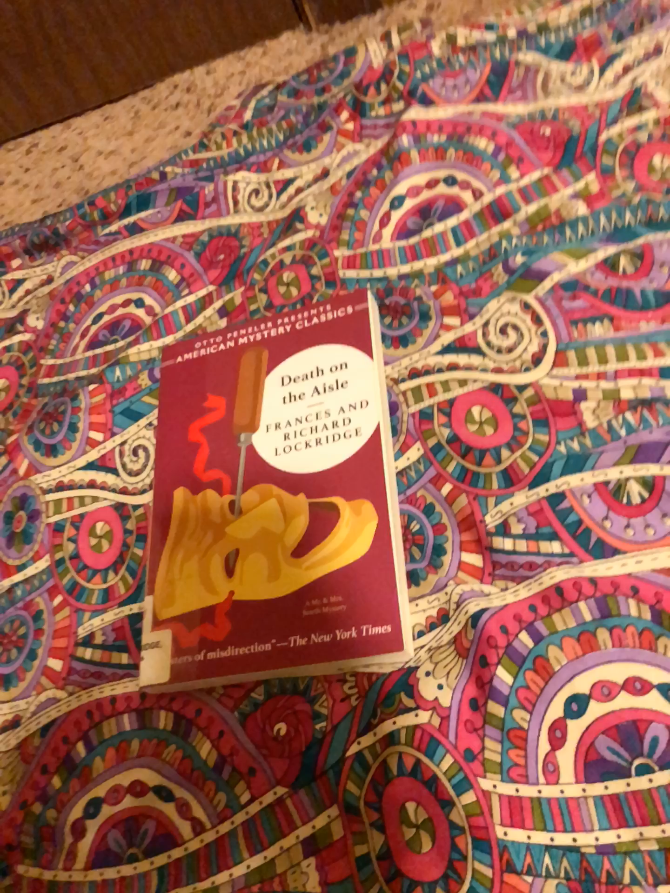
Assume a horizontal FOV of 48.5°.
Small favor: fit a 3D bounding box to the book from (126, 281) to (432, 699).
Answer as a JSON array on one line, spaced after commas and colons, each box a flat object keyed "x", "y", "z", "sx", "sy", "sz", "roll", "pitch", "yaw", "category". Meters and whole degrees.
[{"x": -0.032, "y": 0.017, "z": 0.377, "sx": 0.138, "sy": 0.024, "sz": 0.196, "roll": -12, "pitch": 61, "yaw": 16, "category": "book"}]
